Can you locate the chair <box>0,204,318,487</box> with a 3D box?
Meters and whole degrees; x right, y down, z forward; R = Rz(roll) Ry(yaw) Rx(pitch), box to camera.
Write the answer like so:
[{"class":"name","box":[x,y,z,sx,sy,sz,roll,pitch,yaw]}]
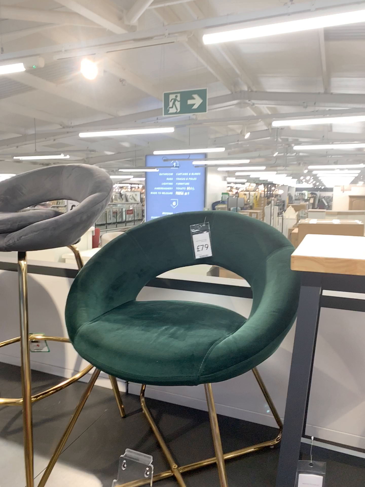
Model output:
[{"class":"chair","box":[-0.007,0.256,1.026,0.634,0.699,0.670,4,7,24]}]
